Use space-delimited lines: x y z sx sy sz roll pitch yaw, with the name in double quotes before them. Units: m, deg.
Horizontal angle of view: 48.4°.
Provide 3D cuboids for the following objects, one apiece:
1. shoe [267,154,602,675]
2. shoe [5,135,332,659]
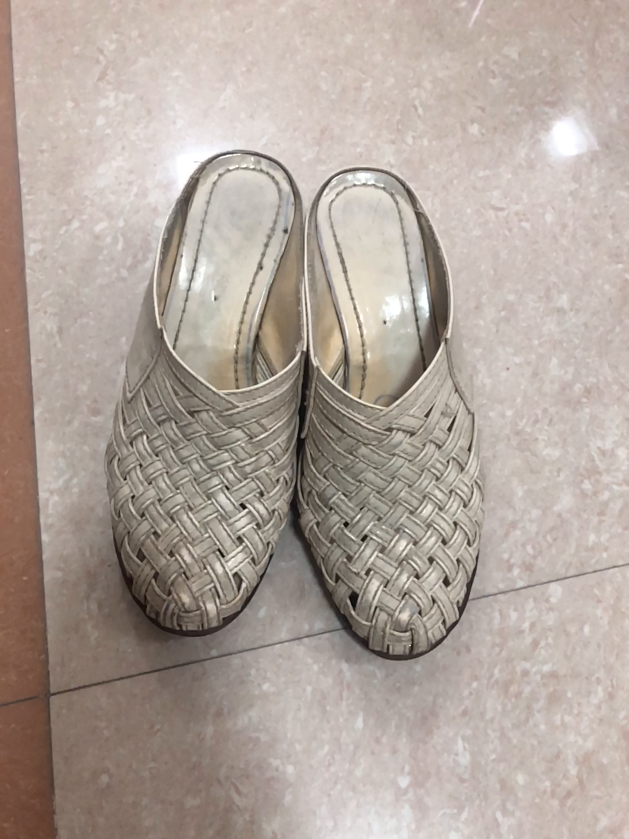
"shoe" 0.037 -0.008 0.327 0.100 0.085 0.222 -4 65 -5
"shoe" -0.051 -0.014 0.330 0.100 0.085 0.225 5 64 -1
